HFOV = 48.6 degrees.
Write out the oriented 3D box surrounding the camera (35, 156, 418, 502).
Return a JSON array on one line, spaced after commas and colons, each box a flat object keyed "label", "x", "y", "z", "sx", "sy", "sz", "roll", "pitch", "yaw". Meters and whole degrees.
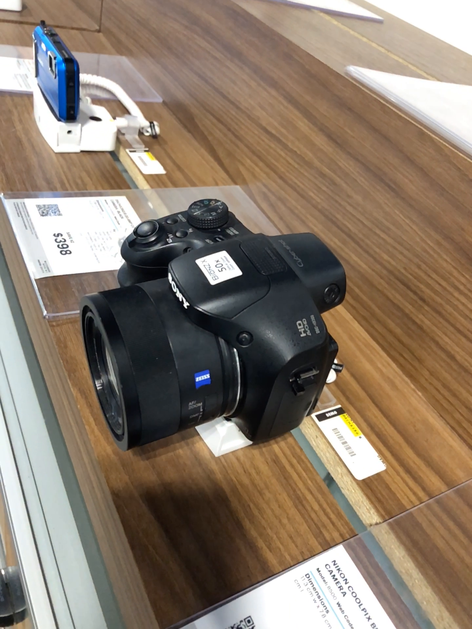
[{"label": "camera", "x": -0.016, "y": -0.007, "z": 0.264, "sx": 0.130, "sy": 0.089, "sz": 0.131, "roll": -10, "pitch": 47, "yaw": -32}]
